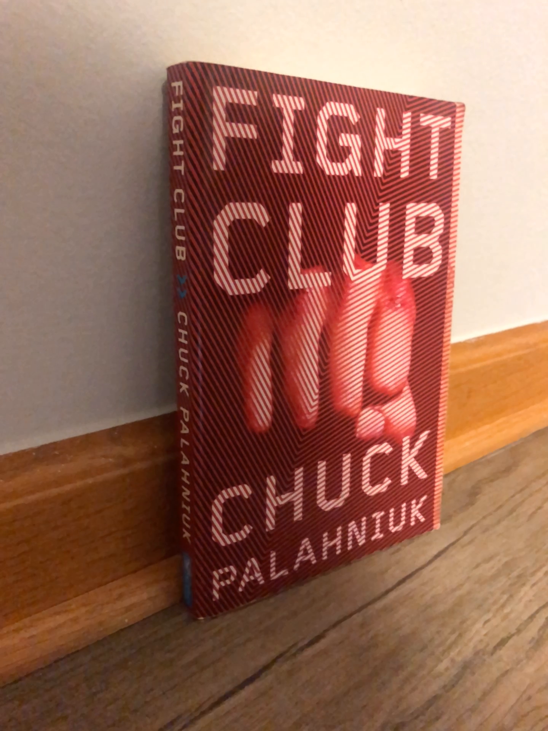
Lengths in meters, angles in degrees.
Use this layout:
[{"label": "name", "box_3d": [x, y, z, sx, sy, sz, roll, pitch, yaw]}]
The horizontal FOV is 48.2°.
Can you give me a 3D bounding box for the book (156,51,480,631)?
[{"label": "book", "box_3d": [0.021, -0.009, 0.267, 0.139, 0.210, 0.030, -9, 18, -34]}]
